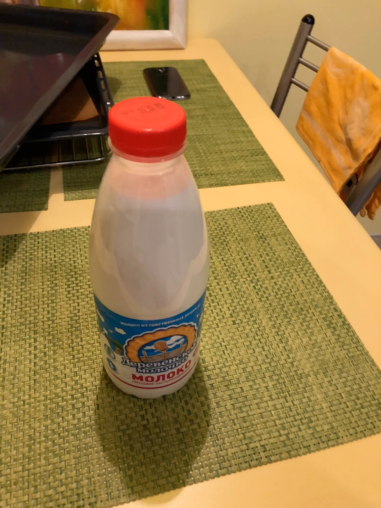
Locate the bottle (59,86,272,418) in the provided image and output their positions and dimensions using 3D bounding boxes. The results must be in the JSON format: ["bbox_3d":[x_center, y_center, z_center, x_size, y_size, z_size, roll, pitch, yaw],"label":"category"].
[{"bbox_3d":[-0.025,0.012,0.294,0.090,0.218,0.091,3,44,-3],"label":"bottle"}]
